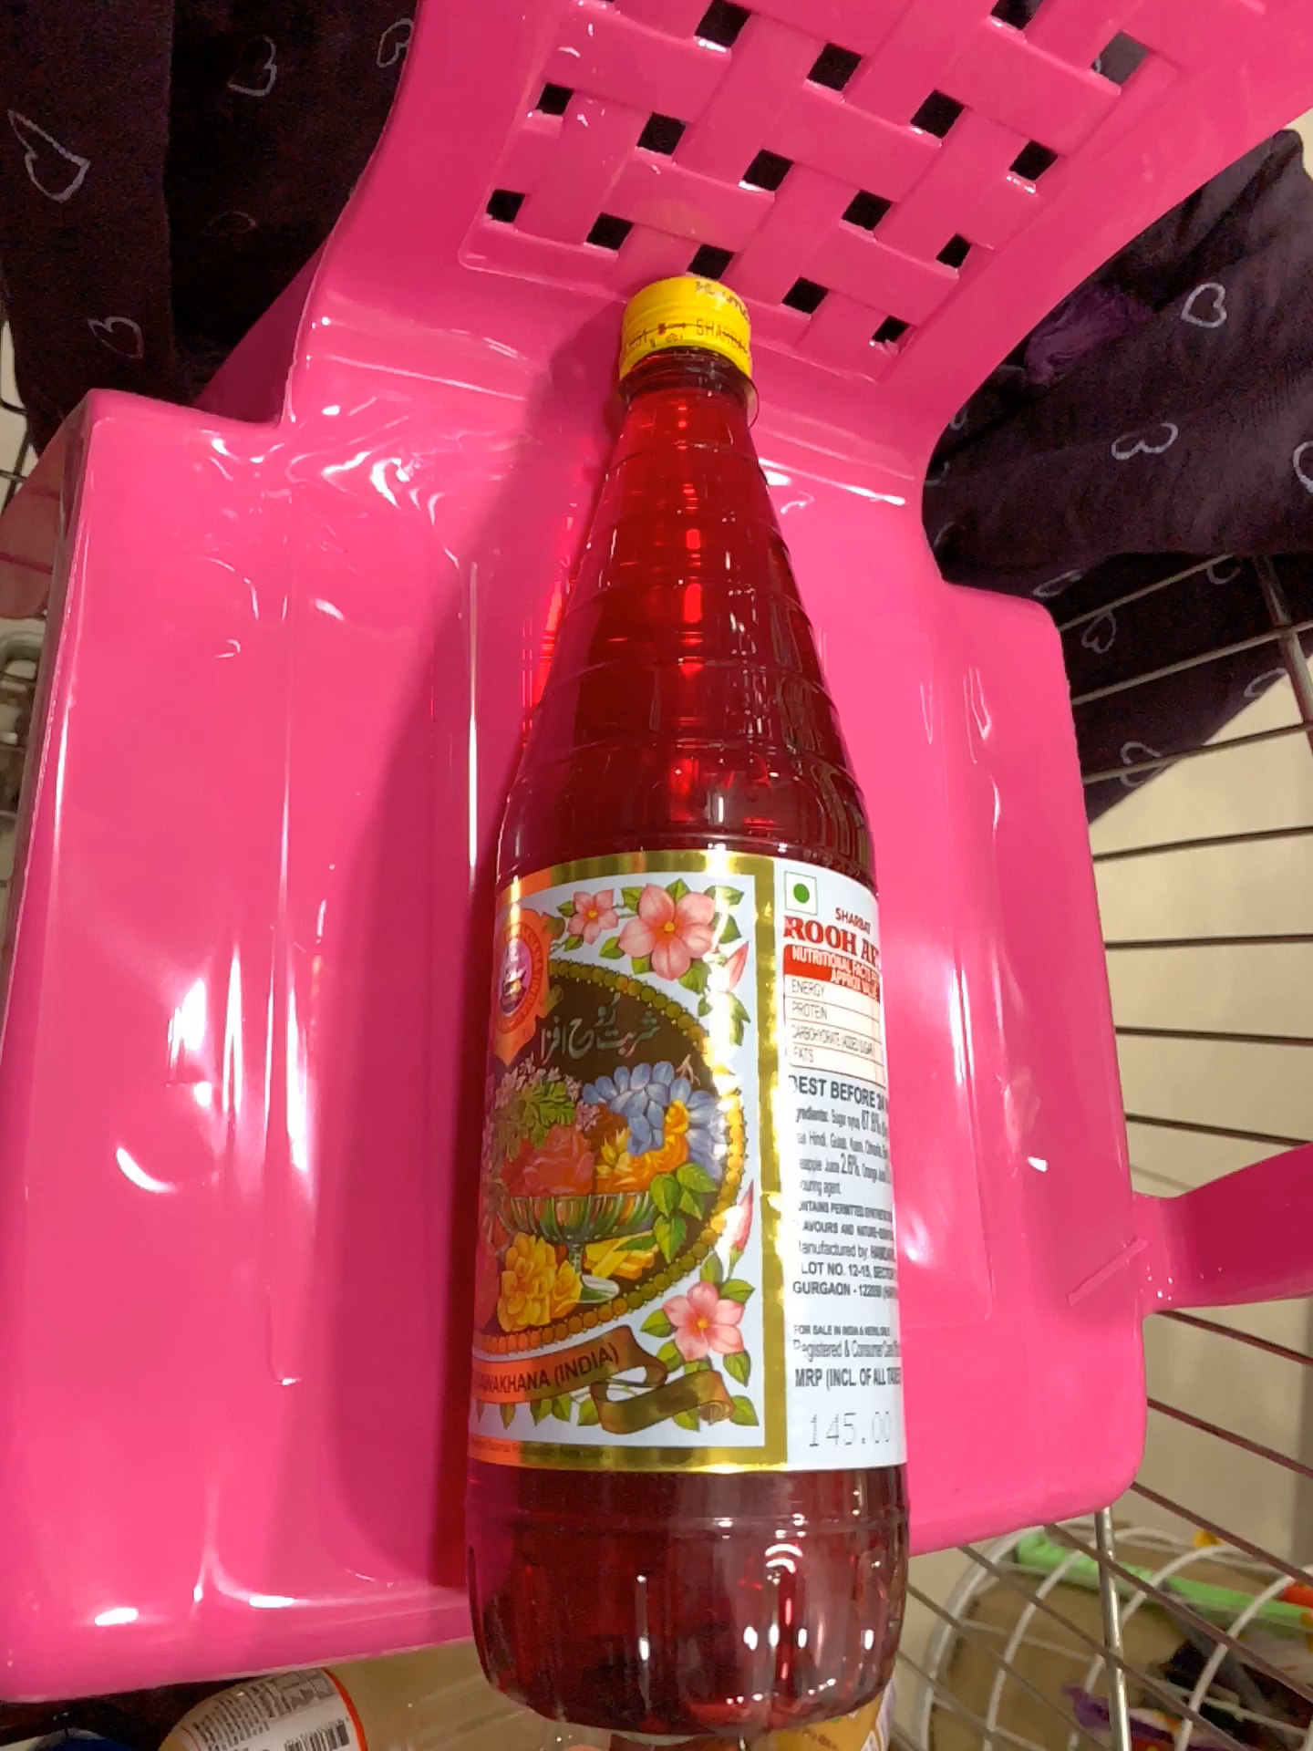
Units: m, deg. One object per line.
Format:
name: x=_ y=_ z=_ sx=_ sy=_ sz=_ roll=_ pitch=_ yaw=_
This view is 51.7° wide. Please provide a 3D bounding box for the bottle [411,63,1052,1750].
bottle: x=0.020 y=0.007 z=0.238 sx=0.080 sy=0.060 sz=0.260 roll=15 pitch=73 yaw=-41
